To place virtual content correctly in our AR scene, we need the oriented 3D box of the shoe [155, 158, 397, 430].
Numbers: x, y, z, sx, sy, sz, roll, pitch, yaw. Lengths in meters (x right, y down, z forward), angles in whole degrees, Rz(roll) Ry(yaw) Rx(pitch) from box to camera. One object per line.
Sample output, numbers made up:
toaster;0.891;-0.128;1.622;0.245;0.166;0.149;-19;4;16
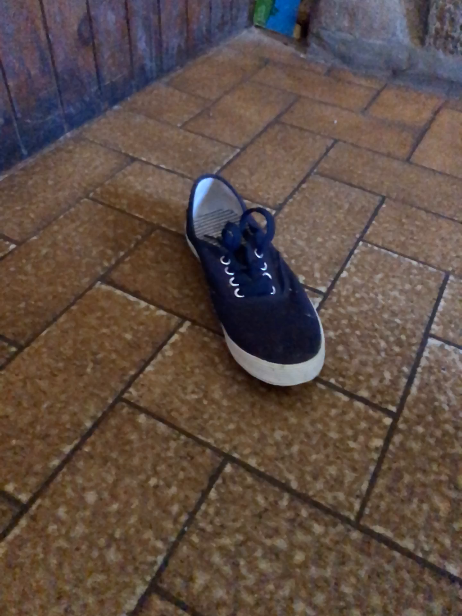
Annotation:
shoe;0.020;-0.029;0.438;0.100;0.070;0.241;-15;49;-18
